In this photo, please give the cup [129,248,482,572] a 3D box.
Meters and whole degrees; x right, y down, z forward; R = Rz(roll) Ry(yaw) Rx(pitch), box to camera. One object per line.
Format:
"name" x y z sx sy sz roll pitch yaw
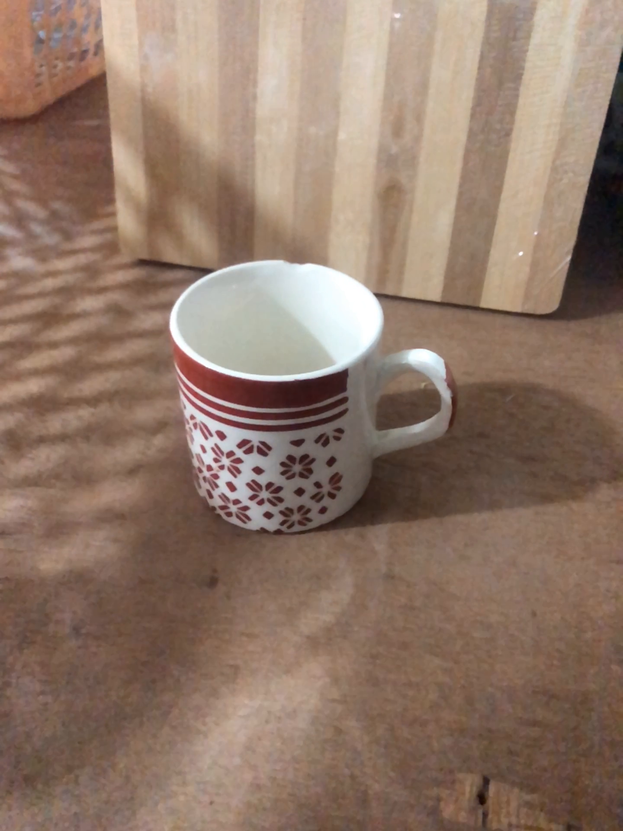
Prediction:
"cup" 0.001 -0.002 0.226 0.090 0.080 0.060 3 42 5
